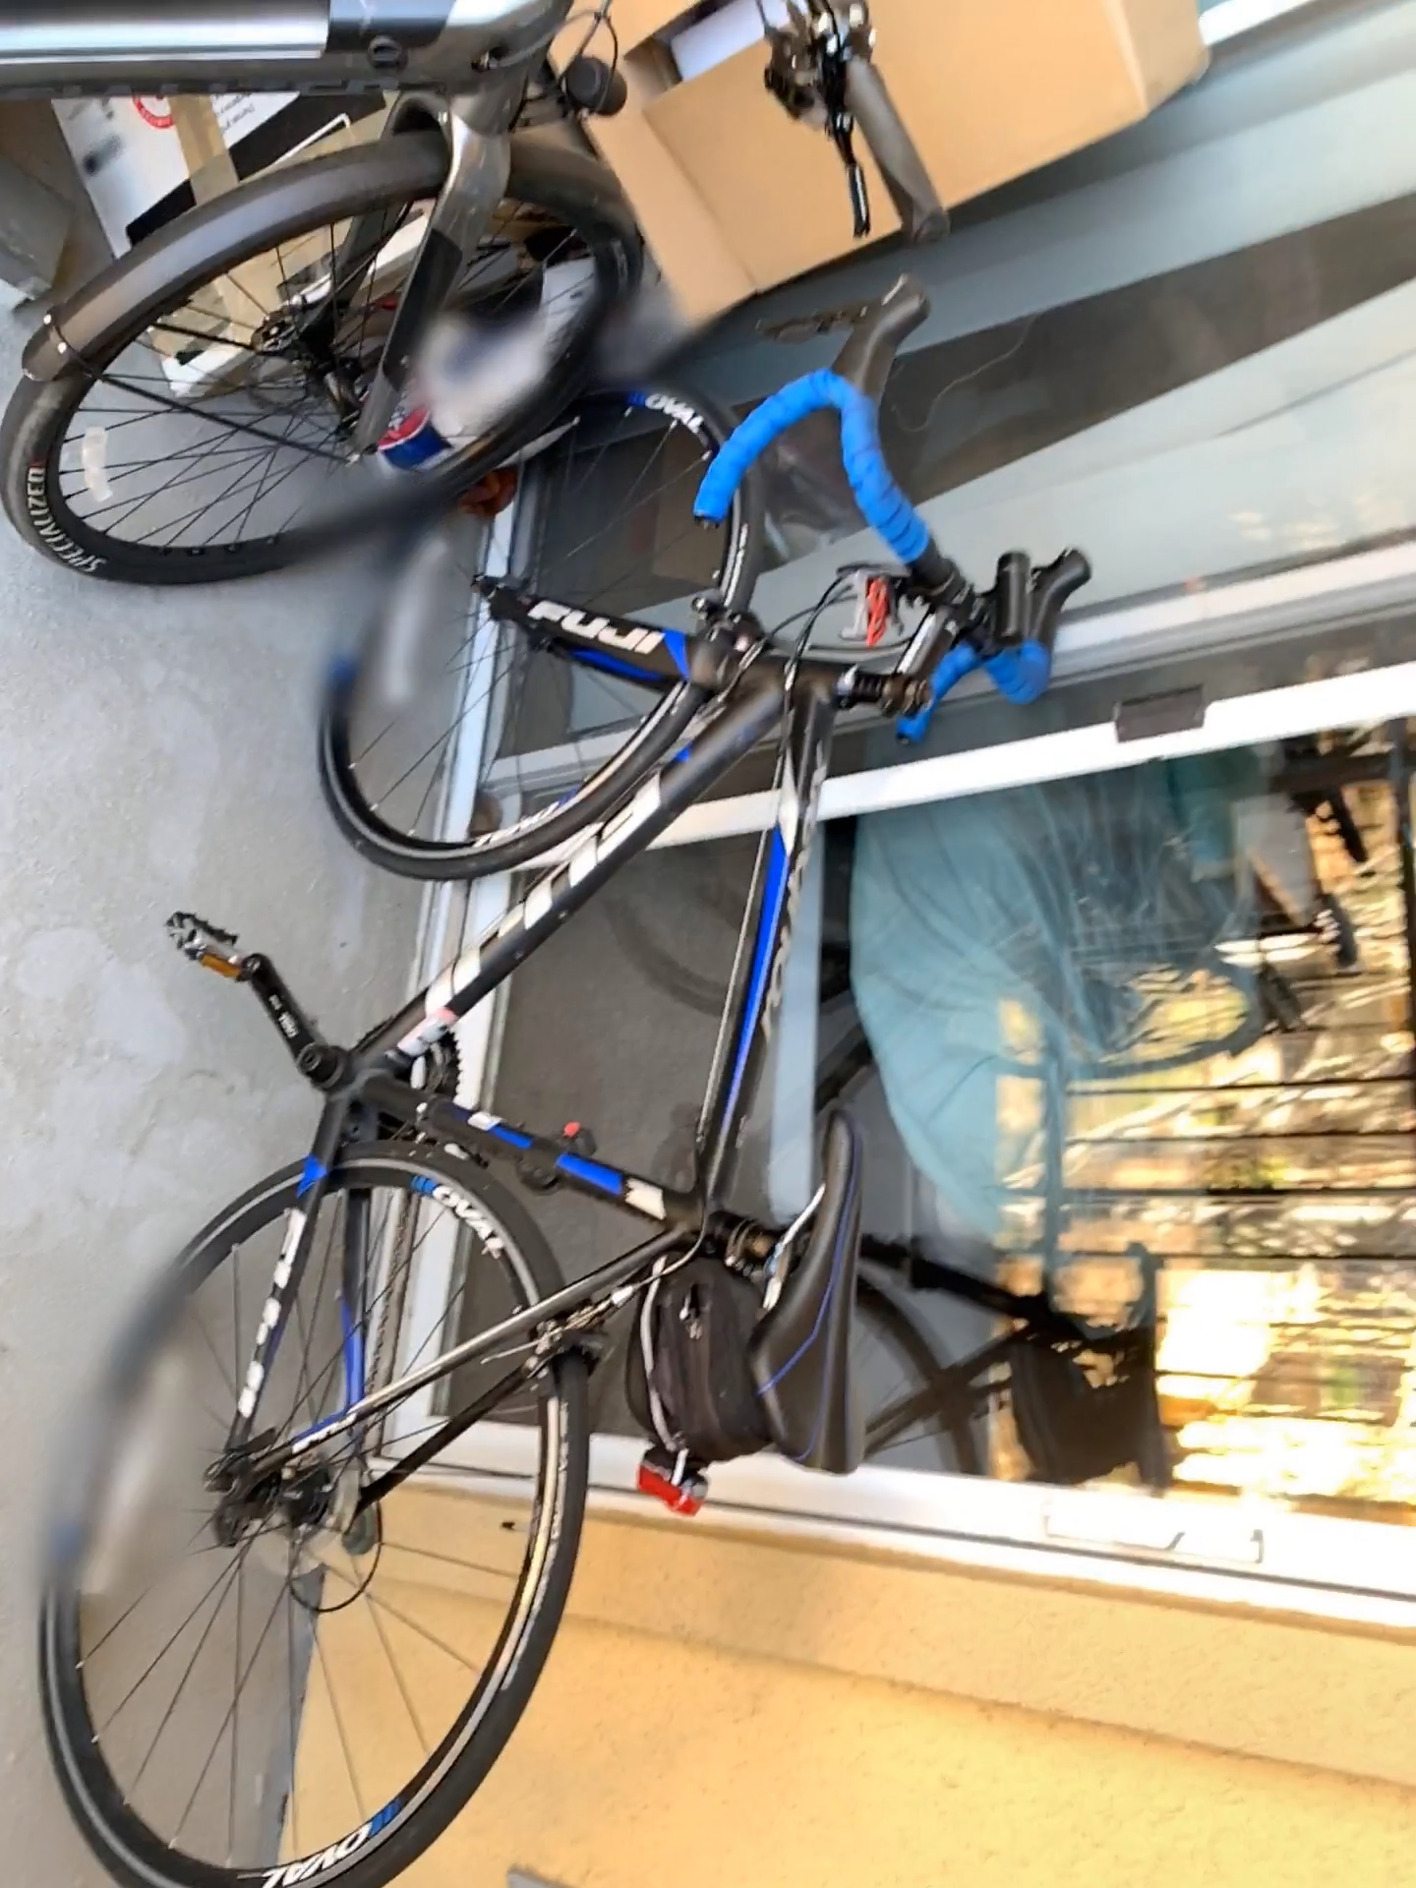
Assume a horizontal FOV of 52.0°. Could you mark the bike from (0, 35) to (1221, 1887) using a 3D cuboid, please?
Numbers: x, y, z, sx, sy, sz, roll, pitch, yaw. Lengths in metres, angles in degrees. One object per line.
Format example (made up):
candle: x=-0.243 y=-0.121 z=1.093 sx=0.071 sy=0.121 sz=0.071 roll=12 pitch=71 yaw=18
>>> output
bike: x=-0.139 y=0.063 z=1.342 sx=0.364 sy=0.933 sz=1.502 roll=35 pitch=60 yaw=-47

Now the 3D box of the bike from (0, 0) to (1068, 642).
bike: x=-0.506 y=-0.853 z=0.972 sx=1.590 sy=0.972 sz=0.621 roll=16 pitch=71 yaw=-54
